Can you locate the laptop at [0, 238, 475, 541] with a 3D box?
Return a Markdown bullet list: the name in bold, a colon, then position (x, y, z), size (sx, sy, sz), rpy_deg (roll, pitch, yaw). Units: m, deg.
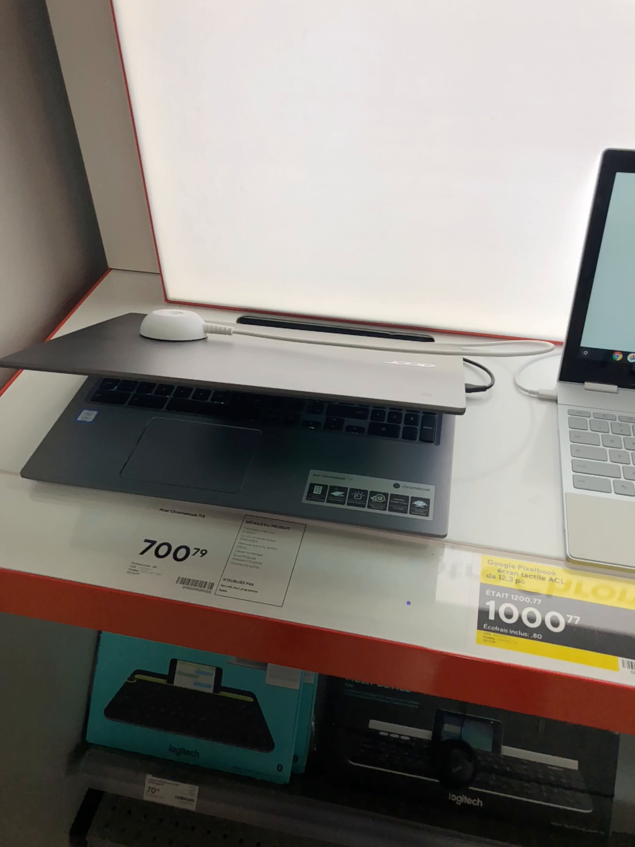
- **laptop**: position (-0.051, -0.048, 0.615), size (0.356, 0.105, 0.237), rpy_deg (7, 41, 9)
